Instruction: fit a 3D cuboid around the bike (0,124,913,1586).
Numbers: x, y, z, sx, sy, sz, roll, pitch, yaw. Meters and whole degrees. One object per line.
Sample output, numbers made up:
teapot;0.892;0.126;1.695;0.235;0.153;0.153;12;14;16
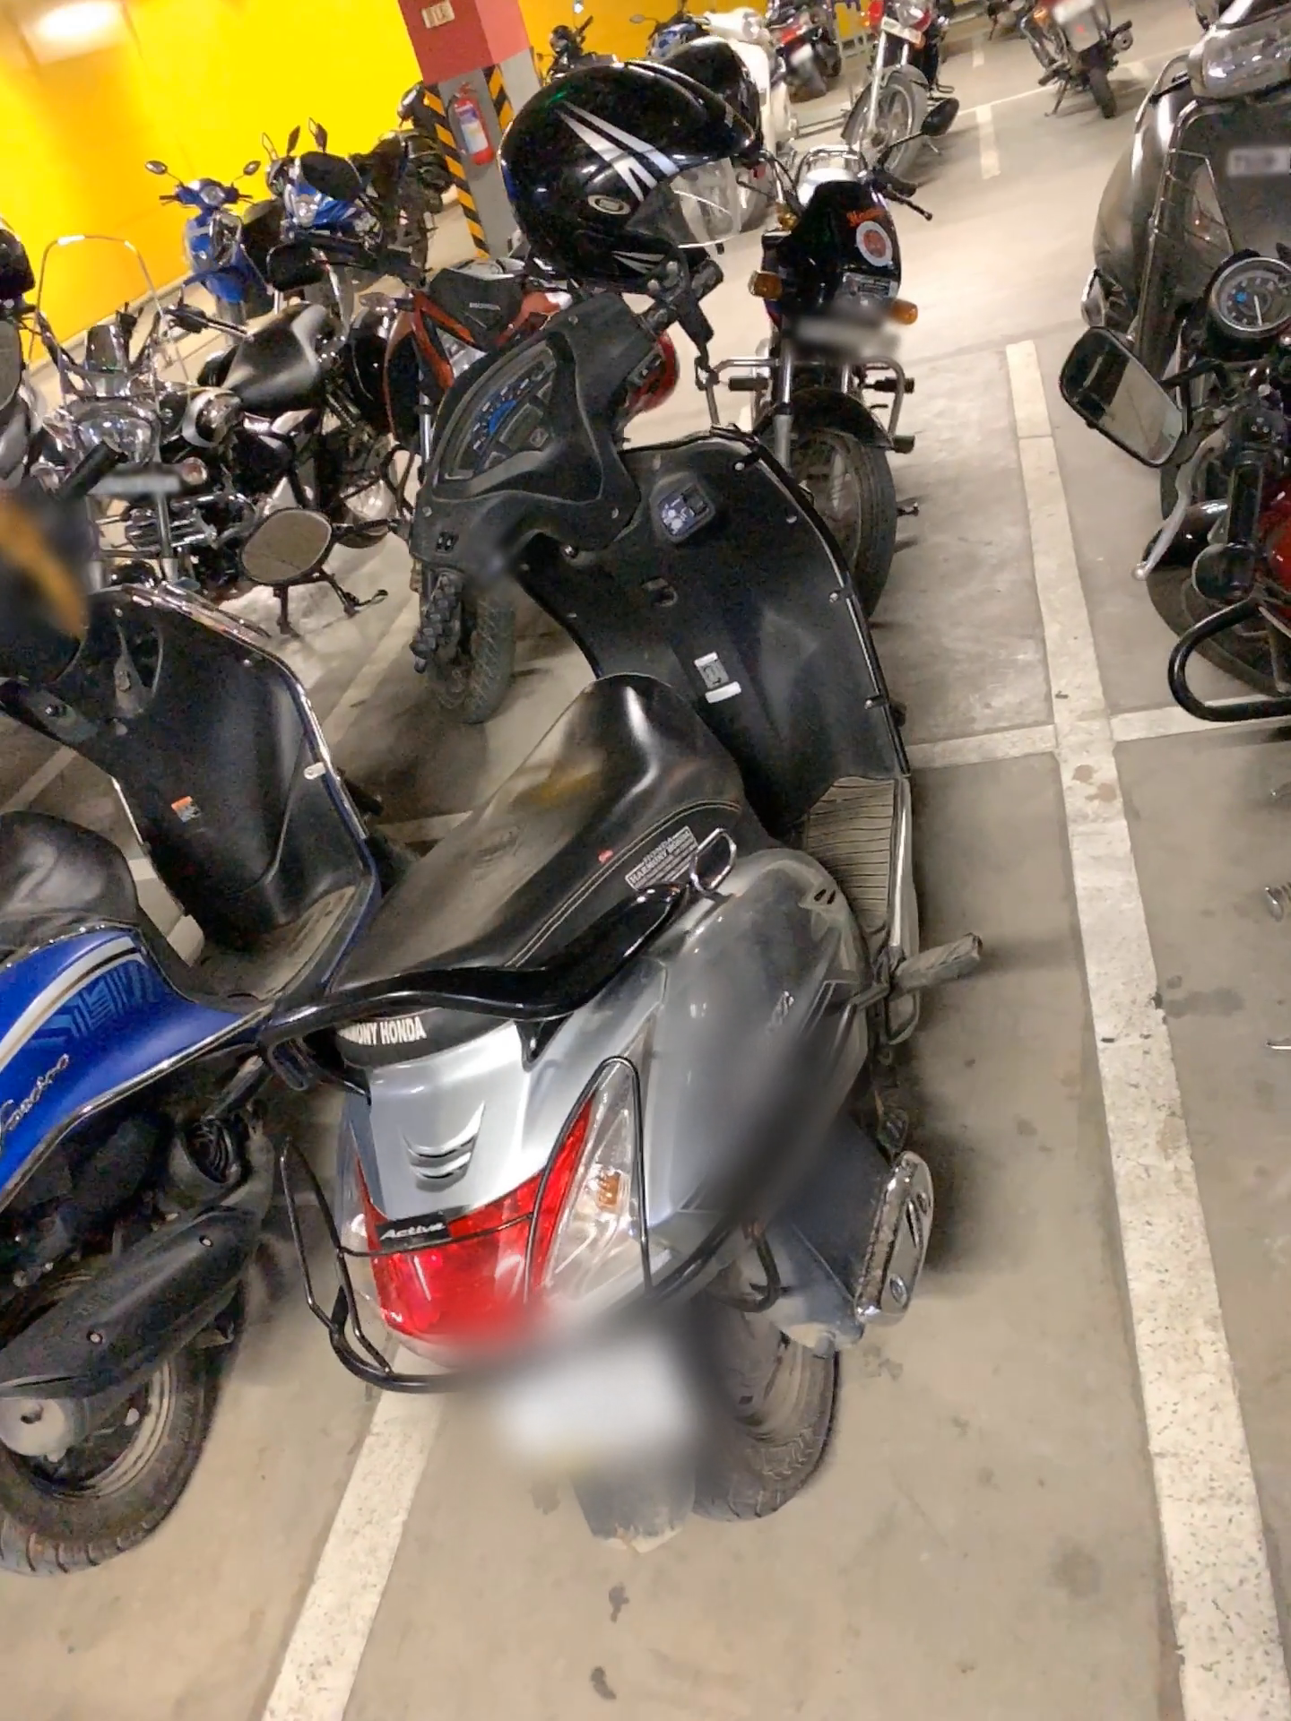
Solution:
bike;-0.088;-0.122;1.760;0.630;1.089;1.540;-9;37;15
